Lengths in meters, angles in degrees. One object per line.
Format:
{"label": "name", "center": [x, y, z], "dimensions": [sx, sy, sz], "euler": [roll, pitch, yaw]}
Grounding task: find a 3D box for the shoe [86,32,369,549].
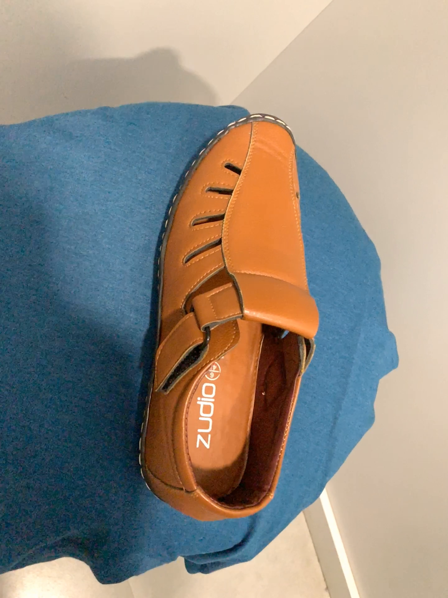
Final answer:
{"label": "shoe", "center": [0.003, -0.003, 0.299], "dimensions": [0.100, 0.100, 0.270], "euler": [16, 78, -24]}
